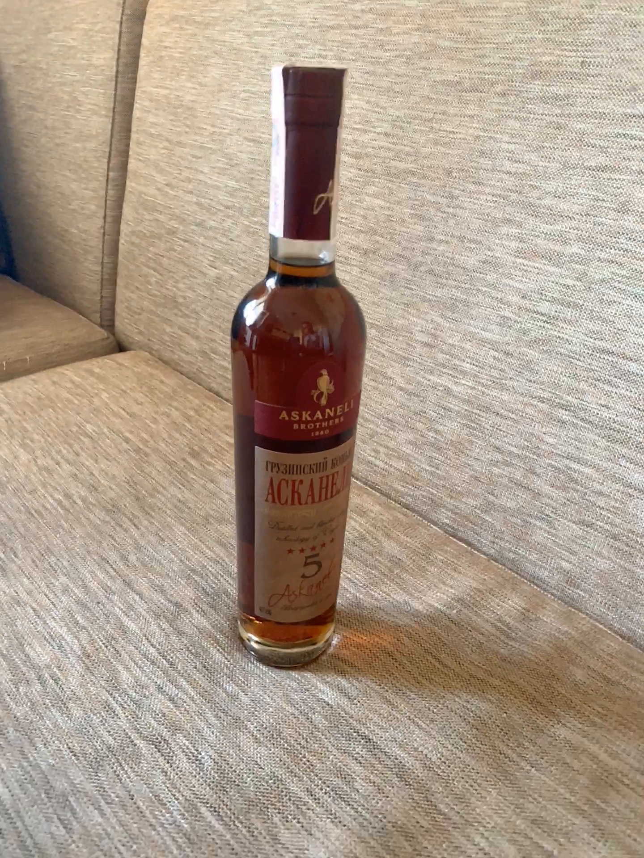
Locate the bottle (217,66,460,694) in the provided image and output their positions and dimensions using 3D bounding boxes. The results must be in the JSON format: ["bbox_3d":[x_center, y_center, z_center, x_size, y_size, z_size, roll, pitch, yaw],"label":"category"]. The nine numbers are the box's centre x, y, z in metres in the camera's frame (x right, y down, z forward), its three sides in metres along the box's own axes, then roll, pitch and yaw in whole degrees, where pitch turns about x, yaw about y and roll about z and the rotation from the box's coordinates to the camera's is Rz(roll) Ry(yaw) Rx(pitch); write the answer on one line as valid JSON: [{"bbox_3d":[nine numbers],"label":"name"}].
[{"bbox_3d":[-0.006,-0.009,0.311,0.070,0.279,0.070,3,27,-2],"label":"bottle"}]
